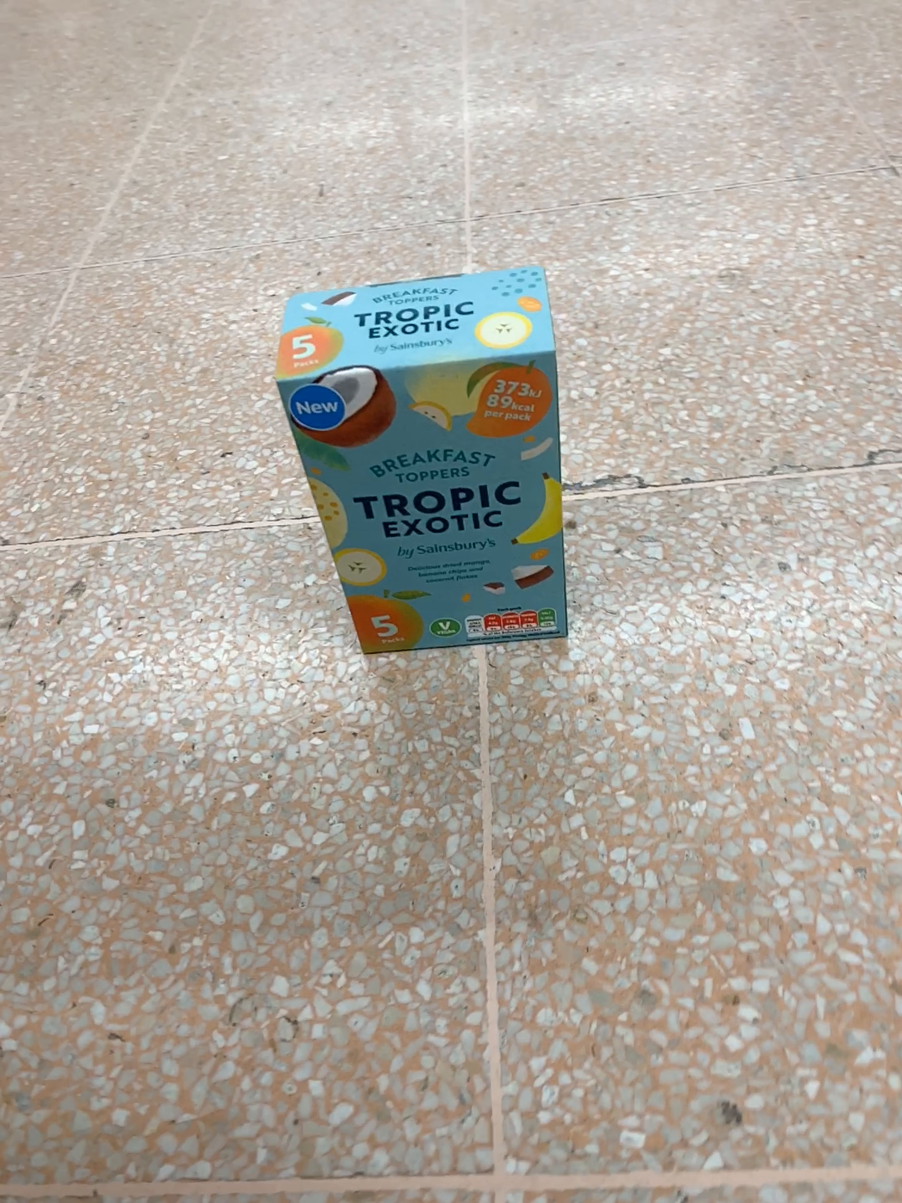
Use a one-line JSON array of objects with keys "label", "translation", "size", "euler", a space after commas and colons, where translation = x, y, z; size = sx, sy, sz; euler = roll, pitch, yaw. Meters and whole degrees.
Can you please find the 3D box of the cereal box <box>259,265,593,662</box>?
[{"label": "cereal box", "translation": [-0.001, -0.048, 0.382], "size": [0.110, 0.149, 0.061], "euler": [-5, 49, 5]}]
